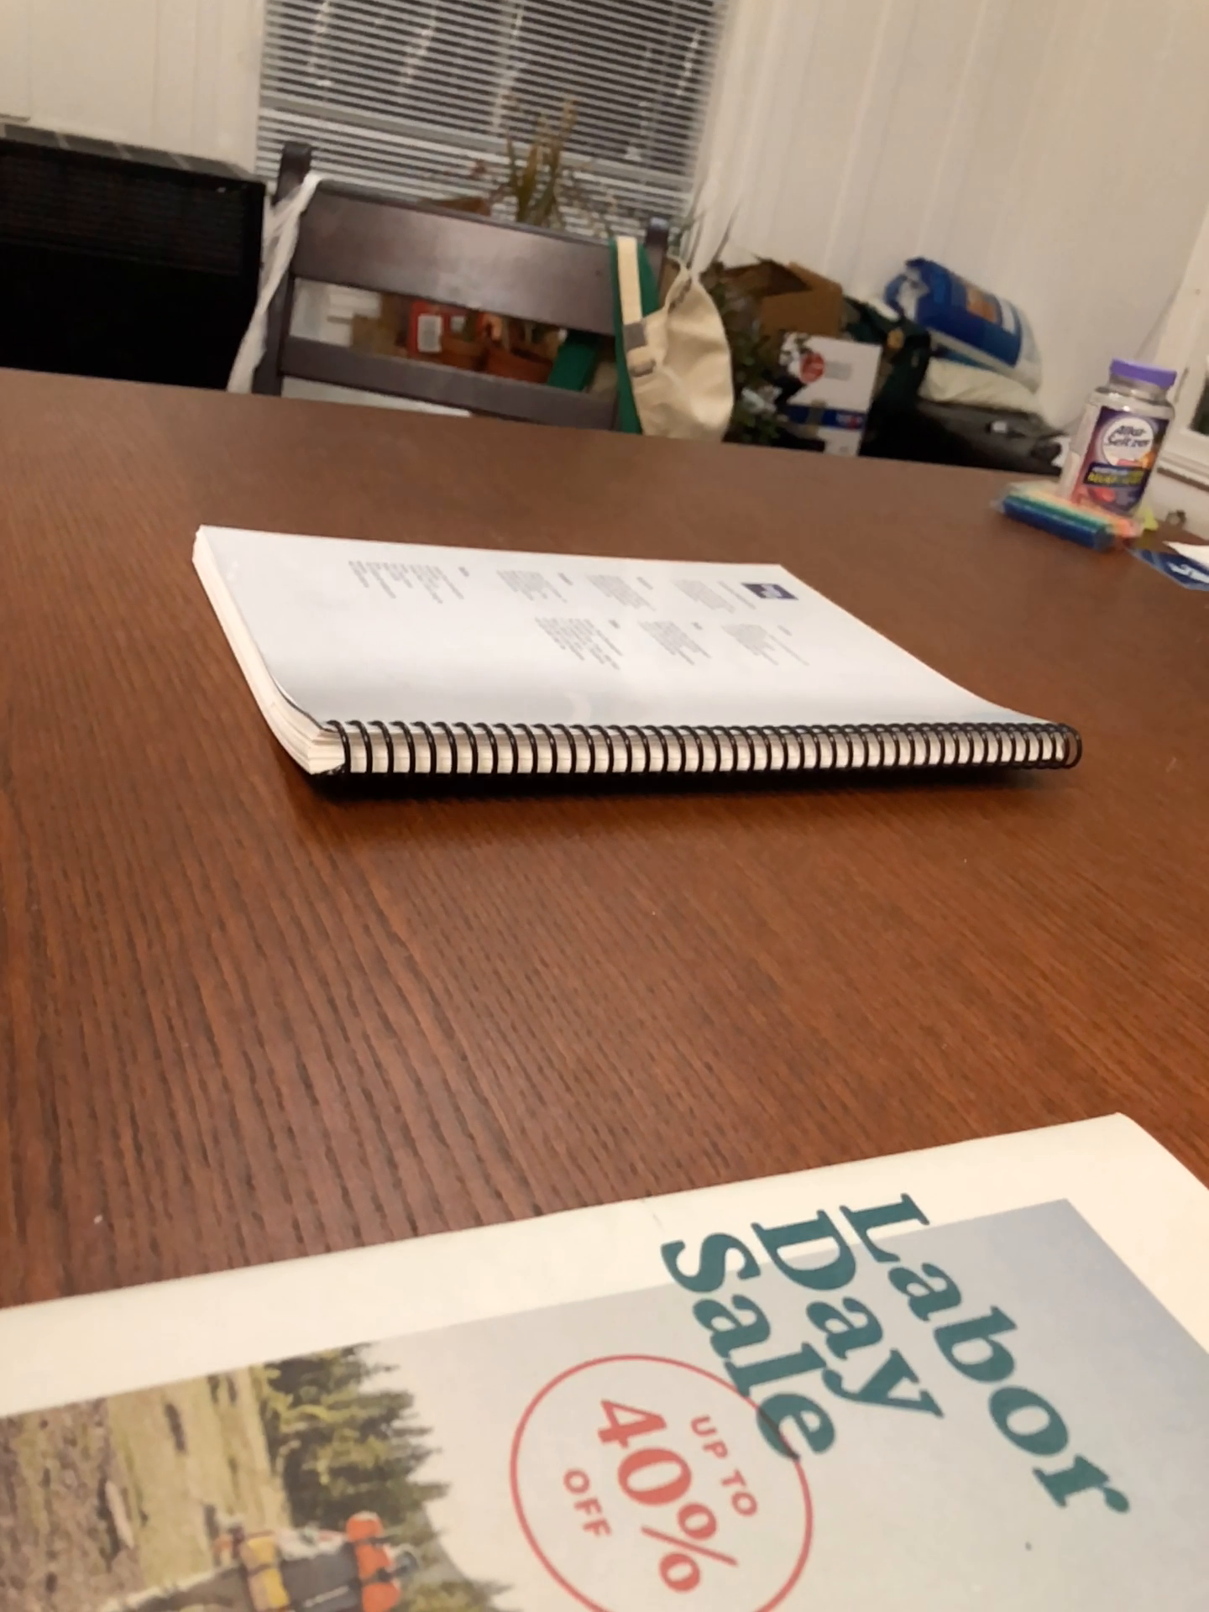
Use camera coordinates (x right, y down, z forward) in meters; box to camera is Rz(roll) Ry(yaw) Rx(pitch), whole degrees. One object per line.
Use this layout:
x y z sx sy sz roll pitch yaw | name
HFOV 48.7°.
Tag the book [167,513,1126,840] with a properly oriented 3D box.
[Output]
0.005 -0.059 0.511 0.301 0.020 0.231 -2 29 -26 | book
